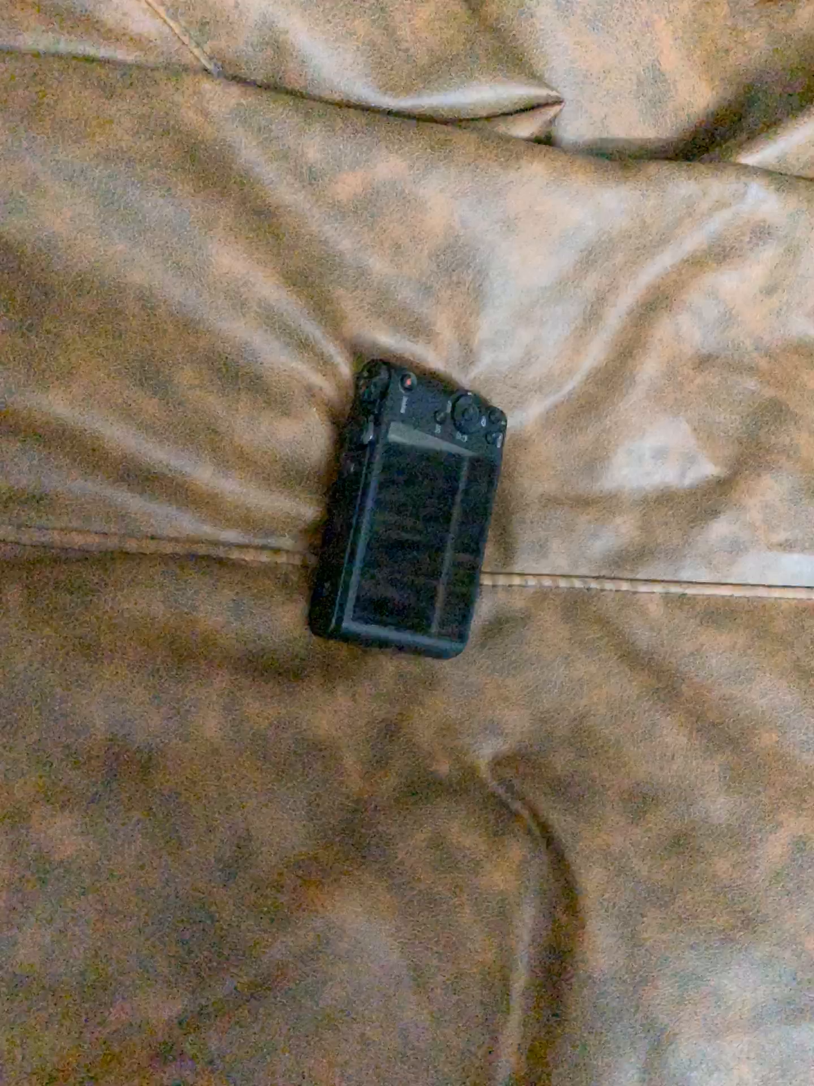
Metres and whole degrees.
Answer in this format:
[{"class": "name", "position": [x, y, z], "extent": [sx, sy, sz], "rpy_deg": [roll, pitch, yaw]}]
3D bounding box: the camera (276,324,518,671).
[{"class": "camera", "position": [-0.002, -0.013, 0.280], "extent": [0.060, 0.024, 0.100], "rpy_deg": [14, 81, -28]}]
